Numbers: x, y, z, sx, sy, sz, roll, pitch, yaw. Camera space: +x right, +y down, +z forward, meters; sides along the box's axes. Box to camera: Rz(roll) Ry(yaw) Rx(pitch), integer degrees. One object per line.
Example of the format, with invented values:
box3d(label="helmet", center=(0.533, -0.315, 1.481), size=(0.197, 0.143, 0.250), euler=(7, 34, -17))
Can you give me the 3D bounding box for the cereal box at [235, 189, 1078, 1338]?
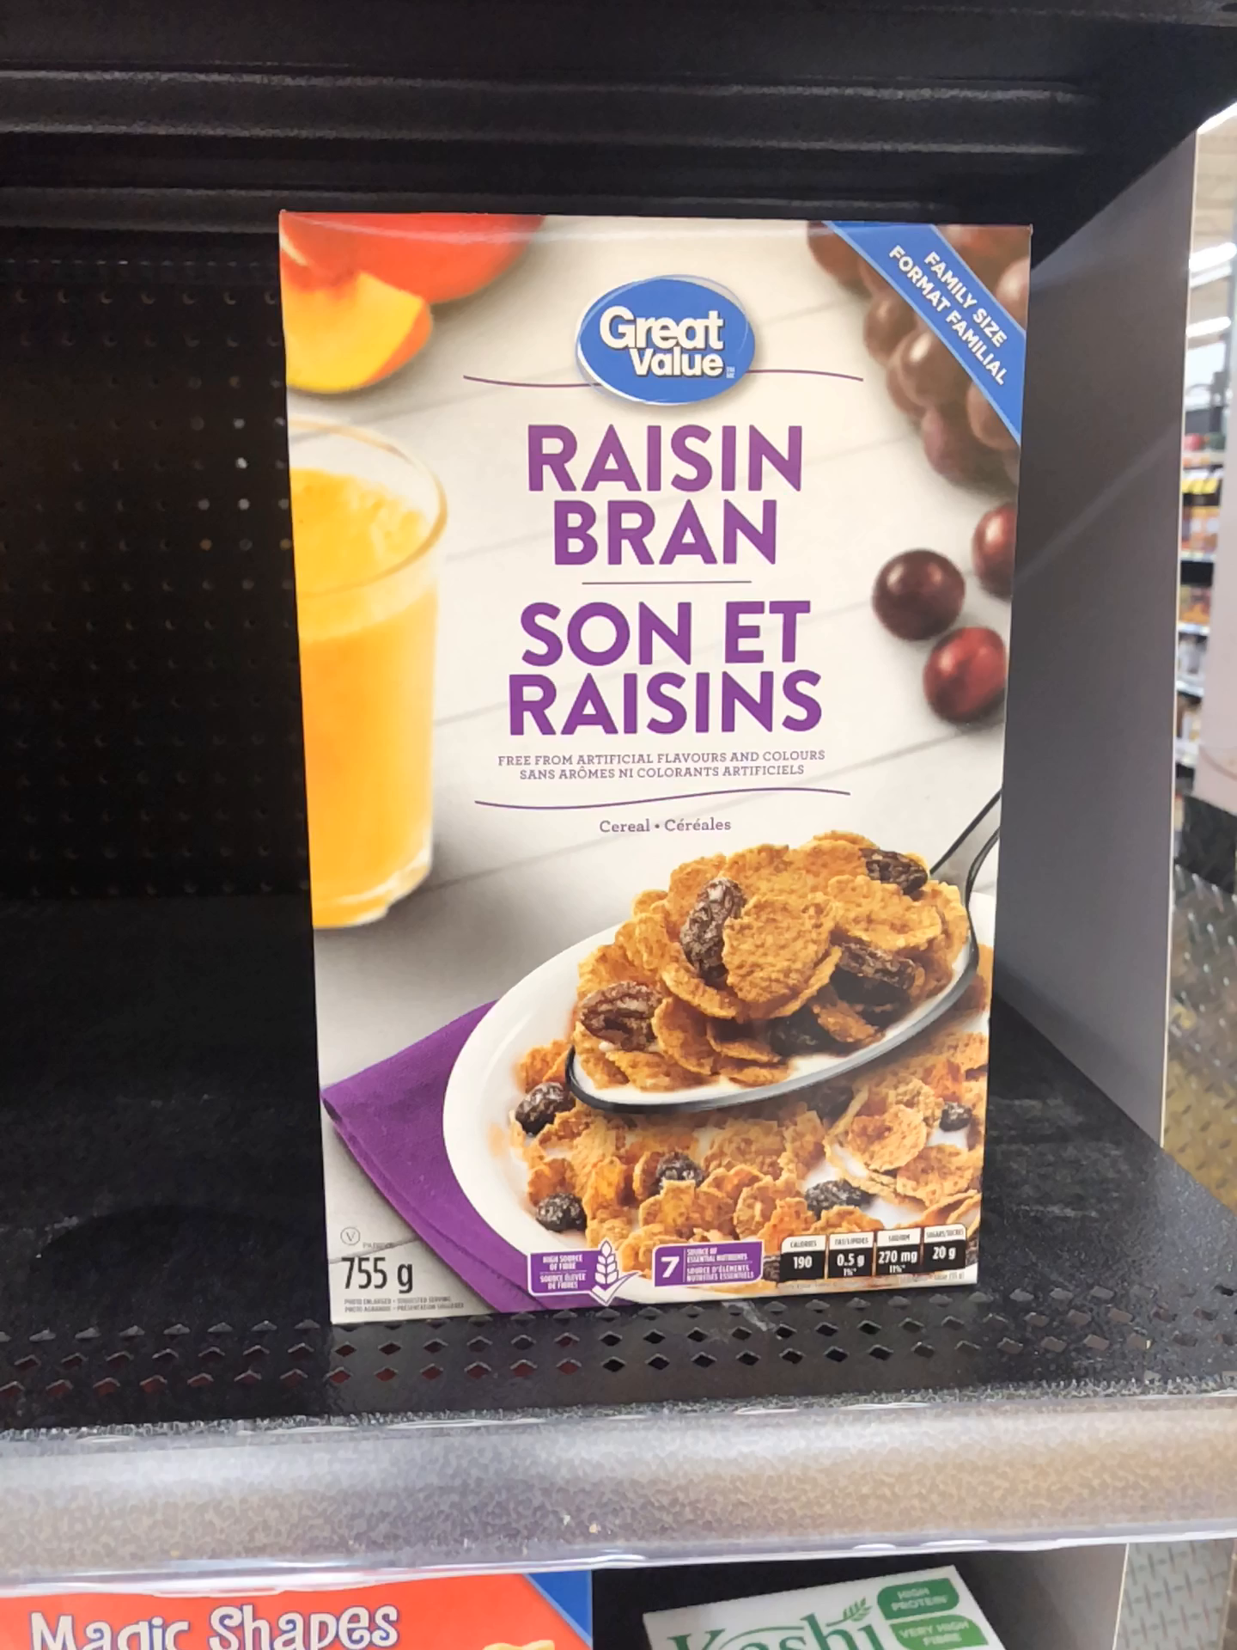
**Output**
box3d(label="cereal box", center=(0.008, -0.013, 0.402), size=(0.210, 0.299, 0.070), euler=(-1, 12, -8))
